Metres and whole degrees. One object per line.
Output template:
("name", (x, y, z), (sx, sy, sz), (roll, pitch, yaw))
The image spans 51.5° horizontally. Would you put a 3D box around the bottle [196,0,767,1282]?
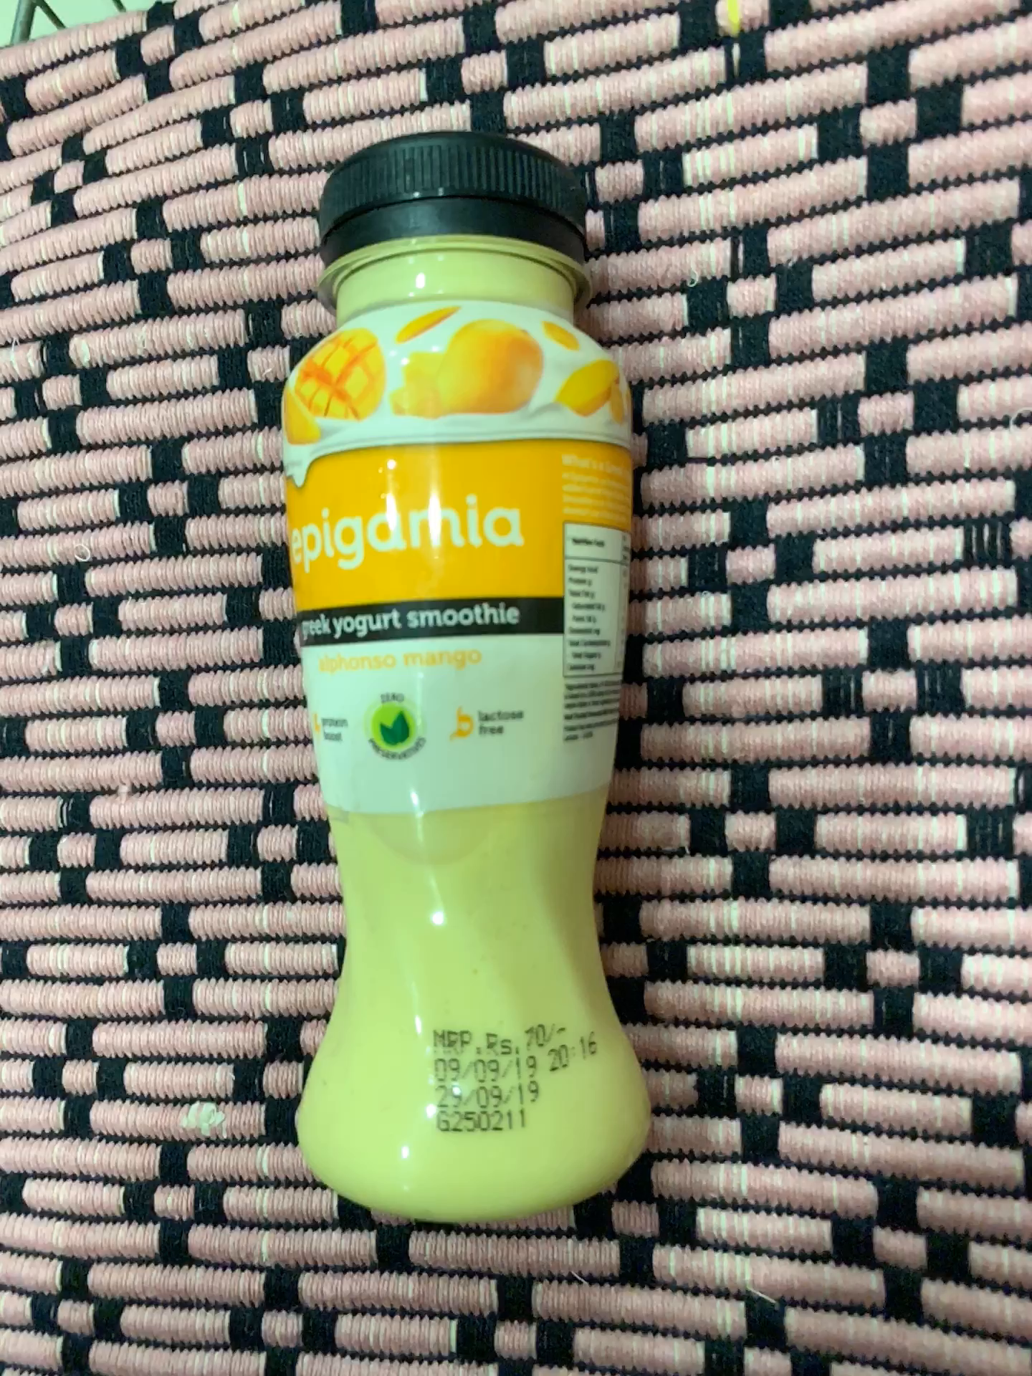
("bottle", (-0.003, -0.010, 0.166), (0.060, 0.060, 0.160), (-4, 87, 28))
